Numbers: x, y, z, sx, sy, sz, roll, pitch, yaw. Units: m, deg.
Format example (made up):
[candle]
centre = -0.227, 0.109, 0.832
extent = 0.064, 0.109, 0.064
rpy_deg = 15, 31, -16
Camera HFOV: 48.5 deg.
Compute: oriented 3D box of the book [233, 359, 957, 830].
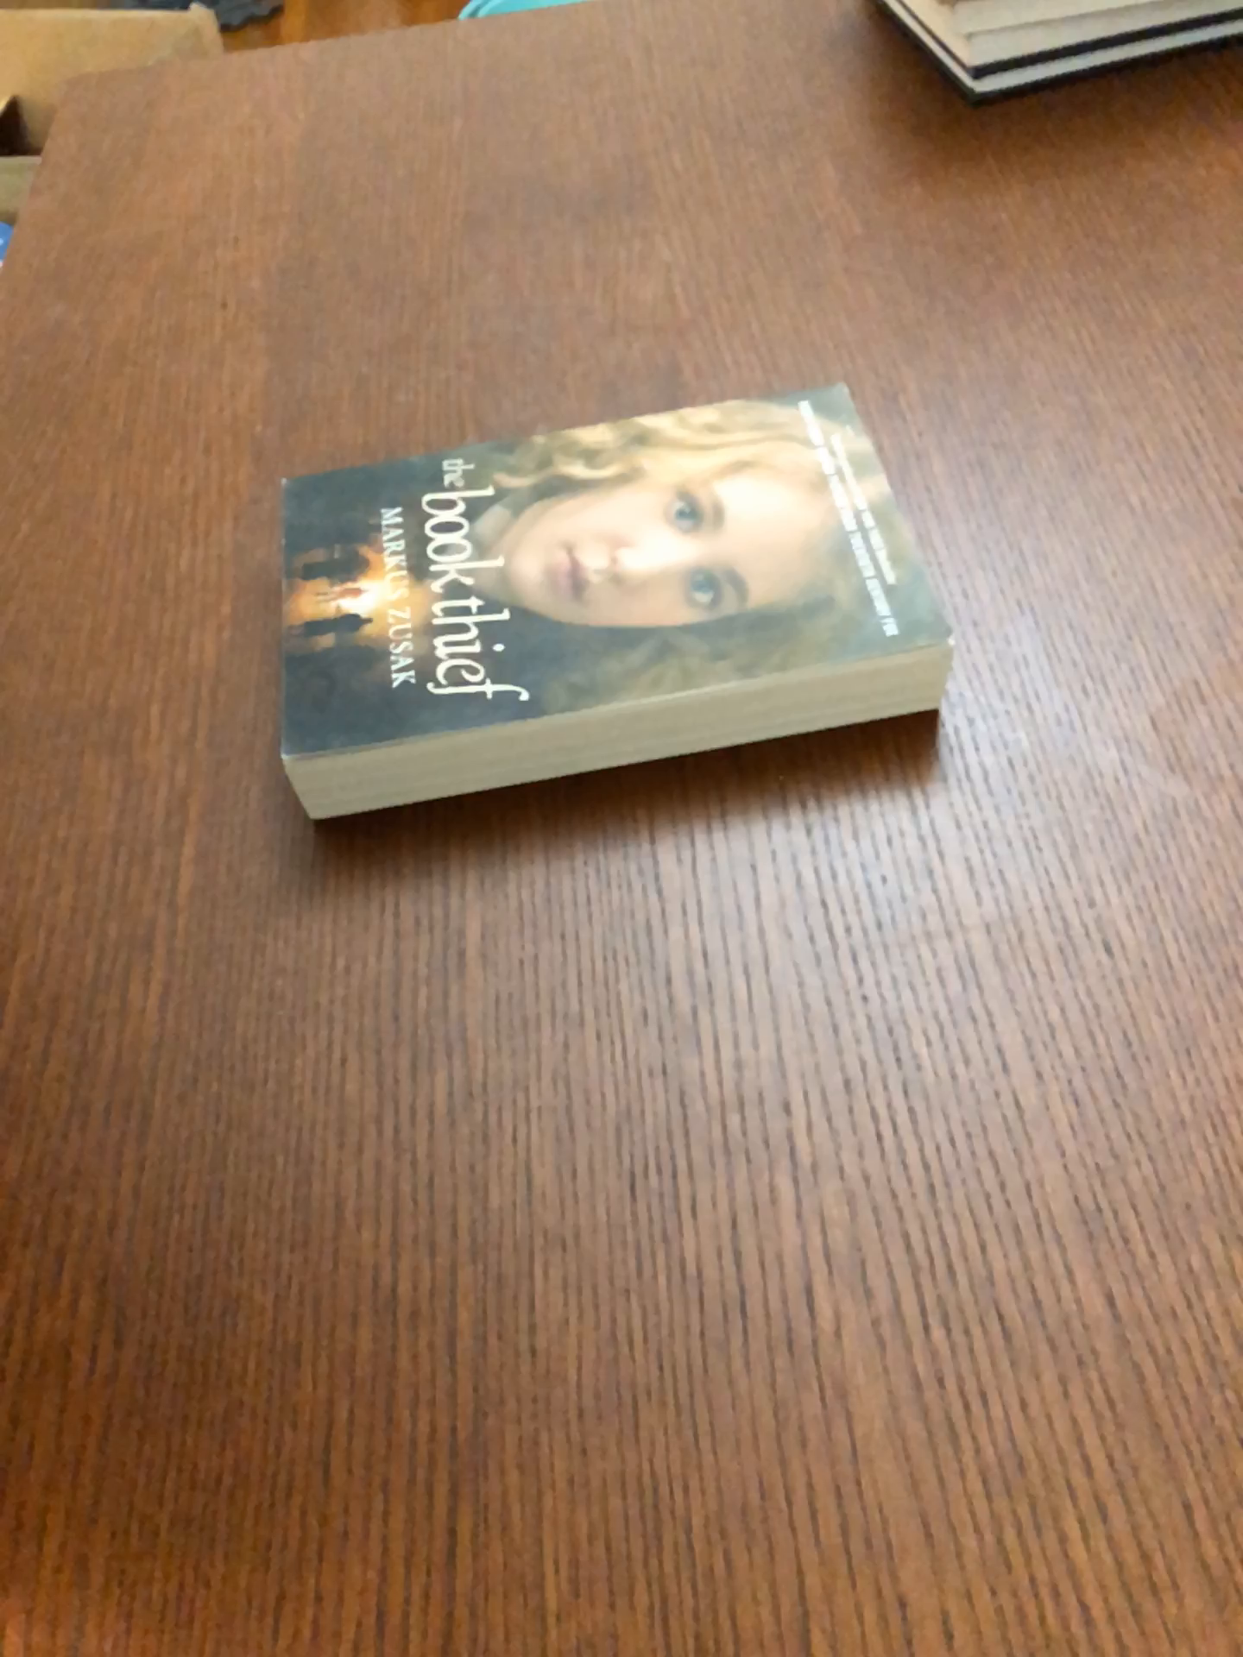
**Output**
[book]
centre = -0.017, -0.086, 0.471
extent = 0.220, 0.030, 0.151
rpy_deg = -10, 52, 0
